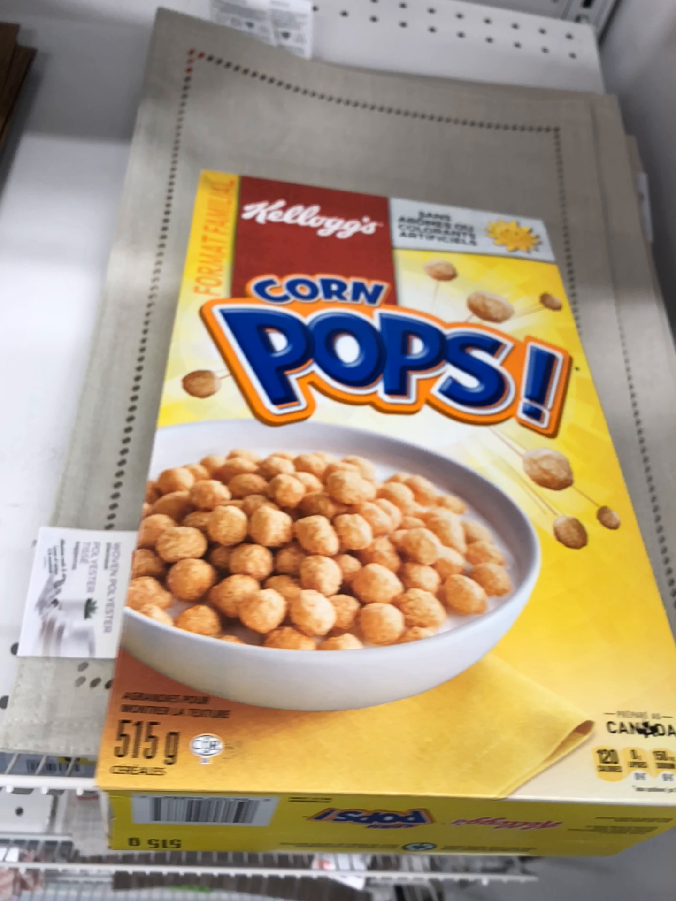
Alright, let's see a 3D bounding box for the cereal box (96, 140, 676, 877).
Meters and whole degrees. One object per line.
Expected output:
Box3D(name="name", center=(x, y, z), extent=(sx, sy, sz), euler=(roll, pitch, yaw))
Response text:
Box3D(name="cereal box", center=(0.028, 0.003, 0.365), extent=(0.220, 0.080, 0.341), euler=(8, 51, -12))
